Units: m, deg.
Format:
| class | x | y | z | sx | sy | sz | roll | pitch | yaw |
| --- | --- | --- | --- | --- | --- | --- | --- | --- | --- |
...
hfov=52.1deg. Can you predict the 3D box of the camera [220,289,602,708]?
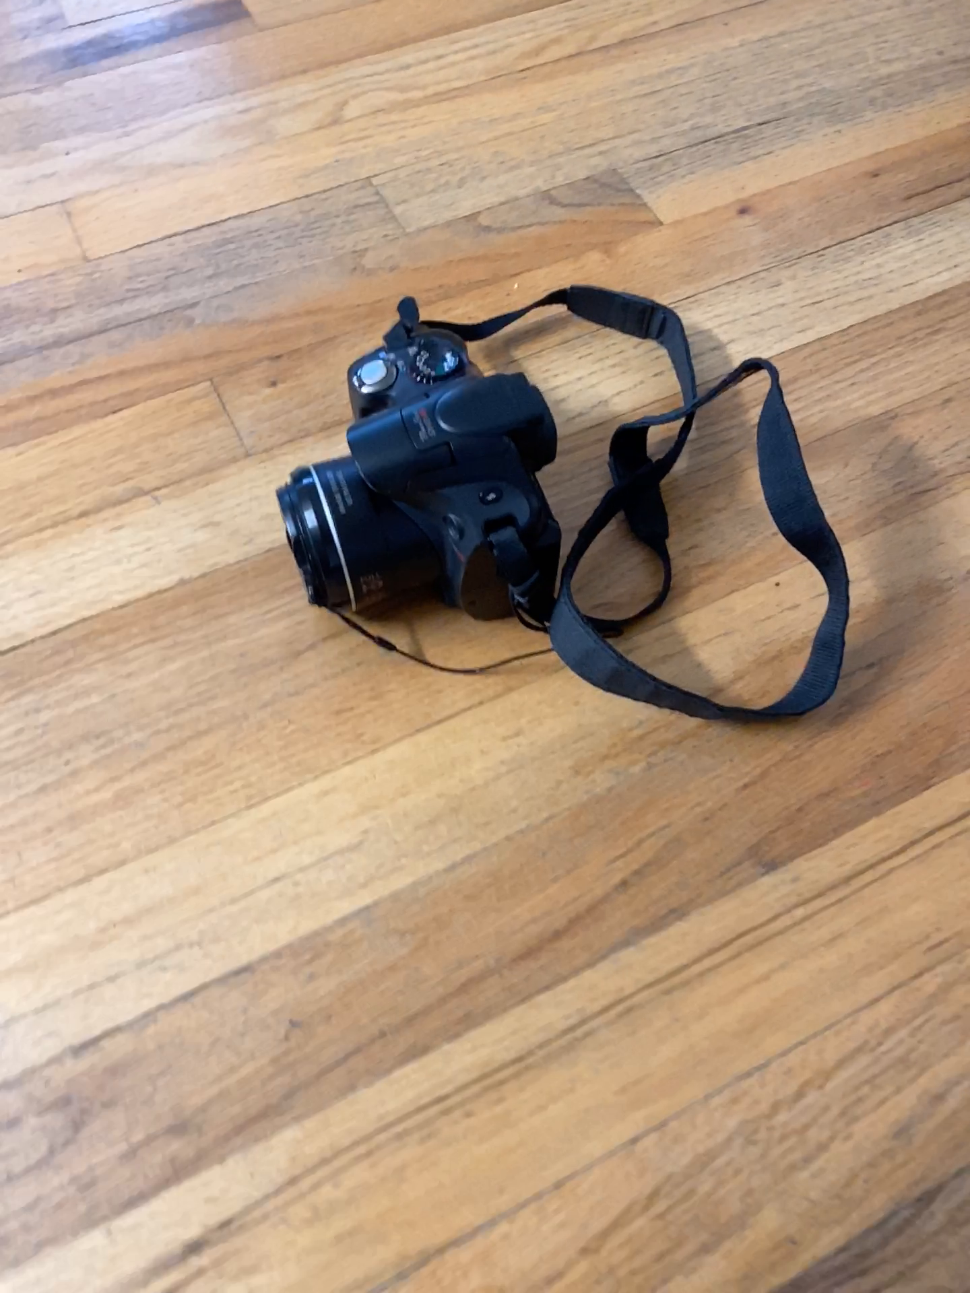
| class | x | y | z | sx | sy | sz | roll | pitch | yaw |
| --- | --- | --- | --- | --- | --- | --- | --- | --- | --- |
| camera | -0.032 | -0.064 | 0.444 | 0.120 | 0.110 | 0.110 | -21 | 63 | -11 |
